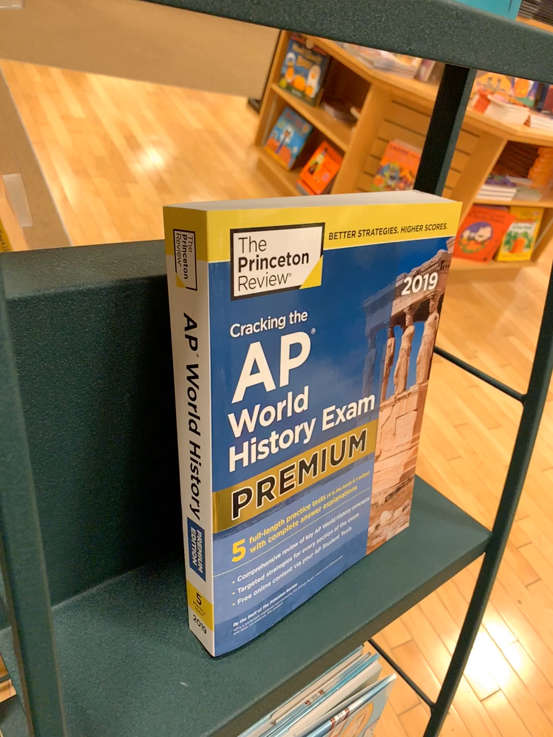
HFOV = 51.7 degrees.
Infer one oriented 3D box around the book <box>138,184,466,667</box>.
[{"bbox_3d":[0.028,0.022,0.386,0.215,0.269,0.057,-18,27,-38],"label":"book"}]
